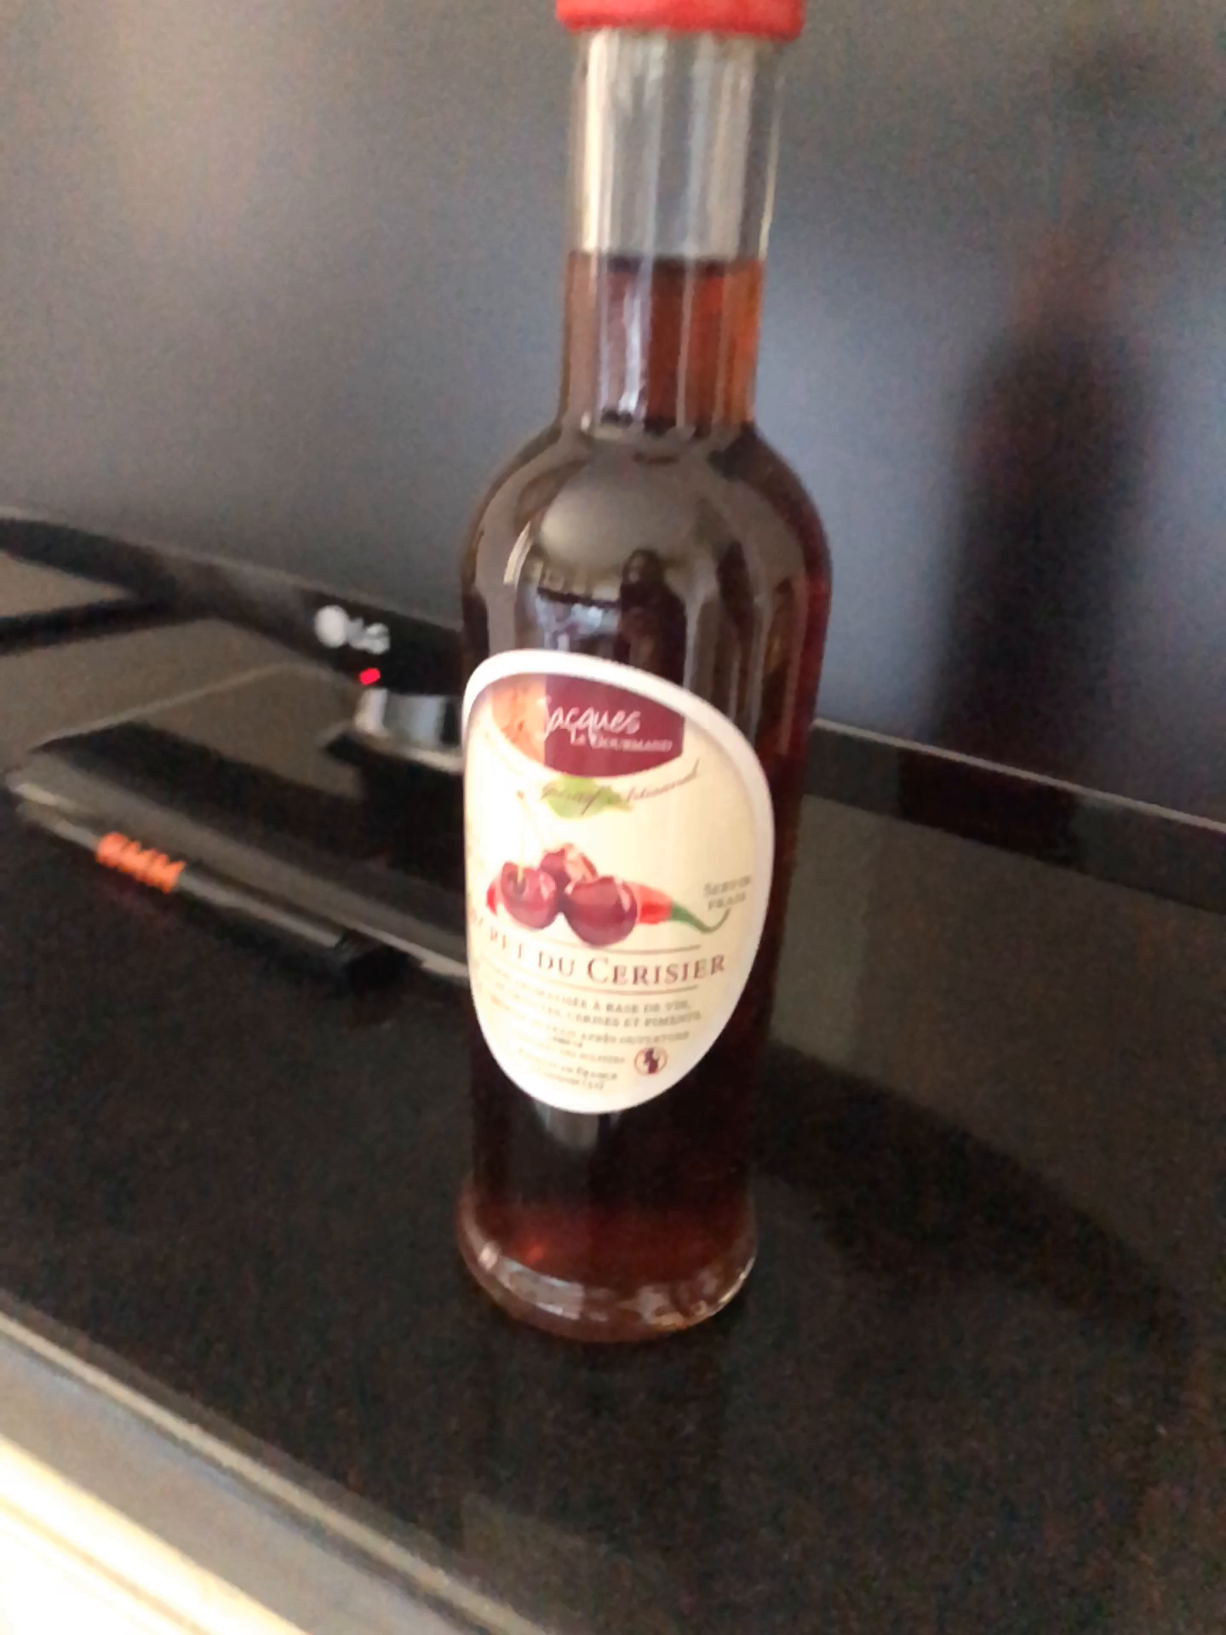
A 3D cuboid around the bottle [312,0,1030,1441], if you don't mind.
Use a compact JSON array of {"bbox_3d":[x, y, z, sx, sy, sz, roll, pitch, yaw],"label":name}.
[{"bbox_3d":[0.007,-0.019,0.215,0.070,0.219,0.070,2,25,-1],"label":"bottle"}]
